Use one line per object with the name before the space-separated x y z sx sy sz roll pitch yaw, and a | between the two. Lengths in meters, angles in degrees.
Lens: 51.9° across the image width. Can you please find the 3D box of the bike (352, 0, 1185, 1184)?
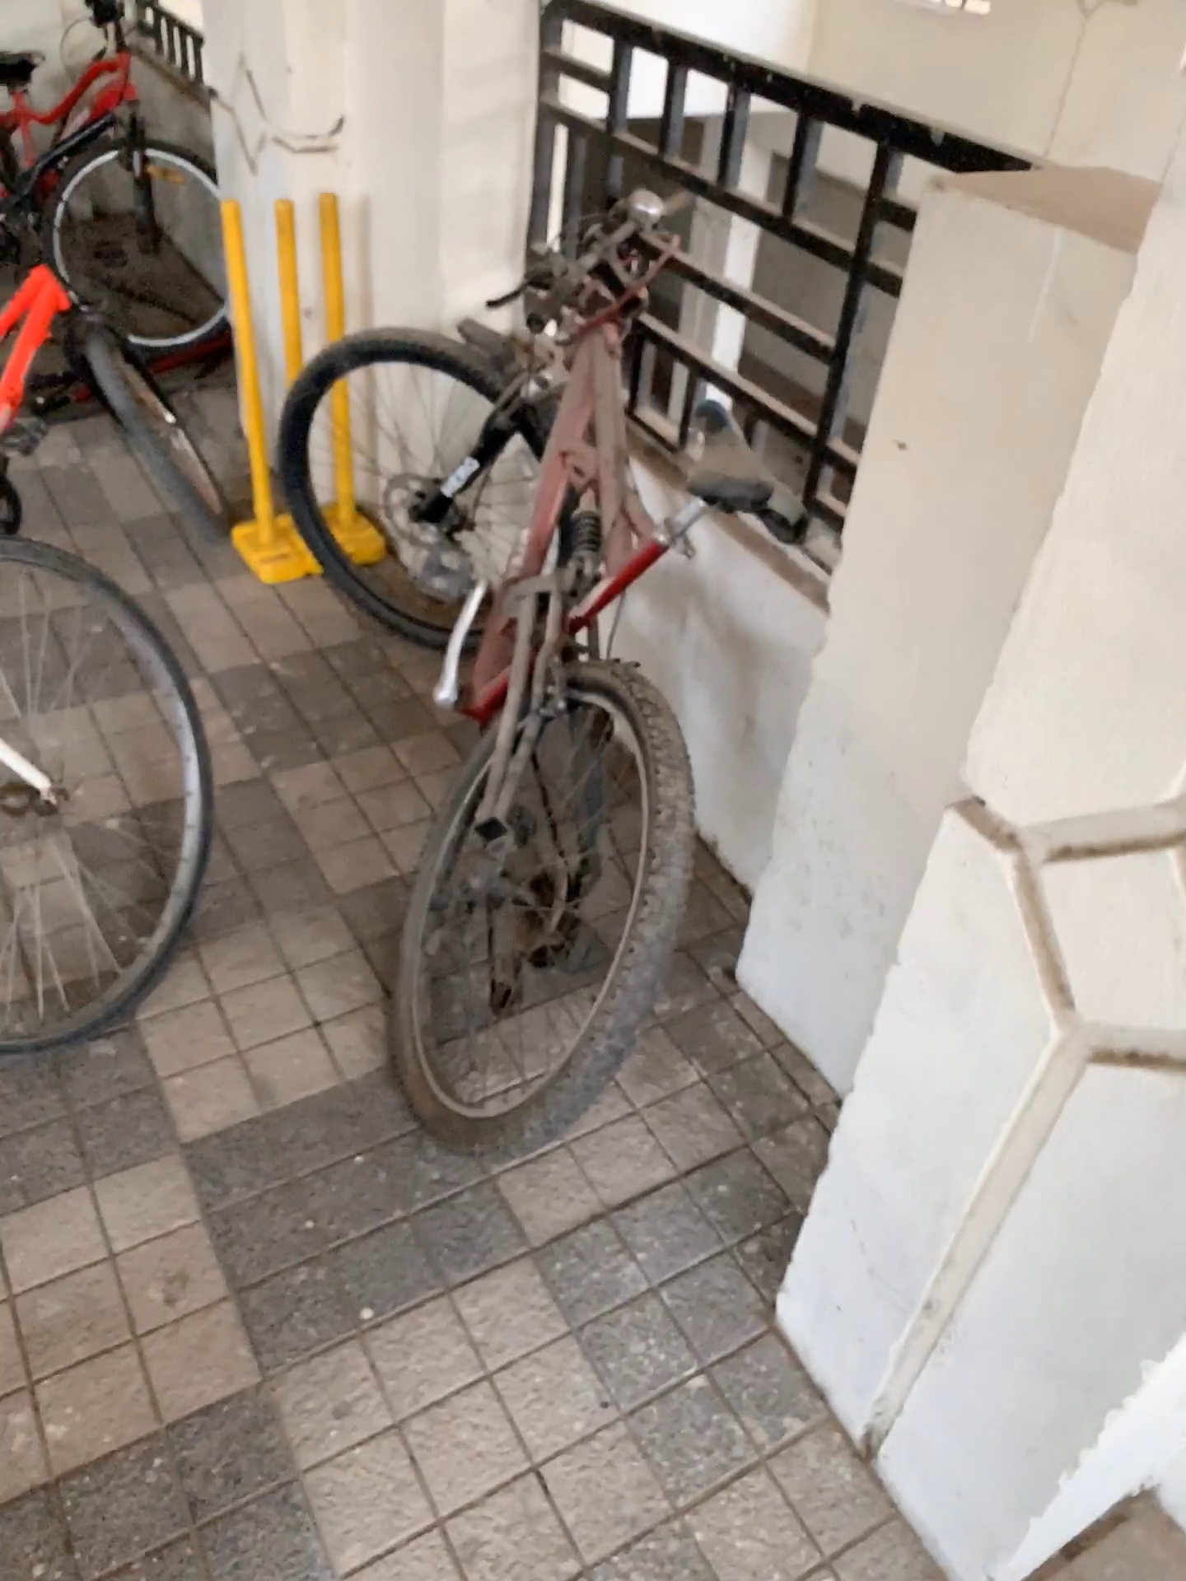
bike | 0.103 -0.421 1.813 0.608 0.831 1.470 -9 49 -18
